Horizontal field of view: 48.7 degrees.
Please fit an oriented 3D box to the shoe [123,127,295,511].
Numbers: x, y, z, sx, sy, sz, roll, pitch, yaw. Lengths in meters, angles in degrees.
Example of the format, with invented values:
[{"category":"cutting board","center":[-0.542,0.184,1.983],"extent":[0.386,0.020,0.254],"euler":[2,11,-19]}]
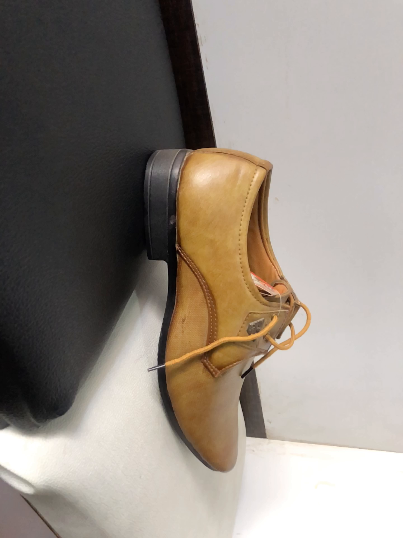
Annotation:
[{"category":"shoe","center":[0.022,0.042,0.367],"extent":[0.100,0.090,0.290],"euler":[-54,140,-63]}]
